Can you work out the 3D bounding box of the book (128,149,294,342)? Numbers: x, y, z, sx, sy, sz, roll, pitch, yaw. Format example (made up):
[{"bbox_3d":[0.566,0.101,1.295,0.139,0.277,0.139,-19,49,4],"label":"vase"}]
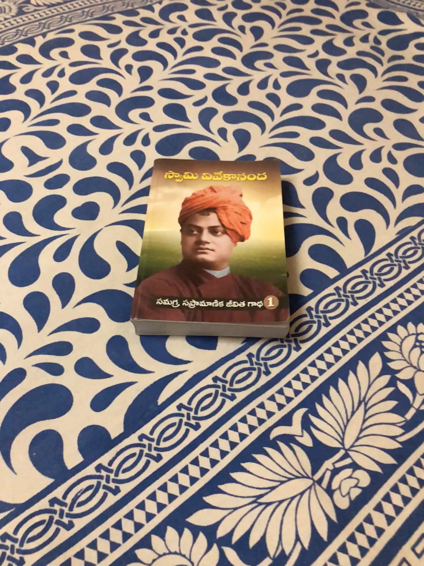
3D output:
[{"bbox_3d":[0.002,-0.046,0.467,0.140,0.030,0.211,2,57,-1],"label":"book"}]
